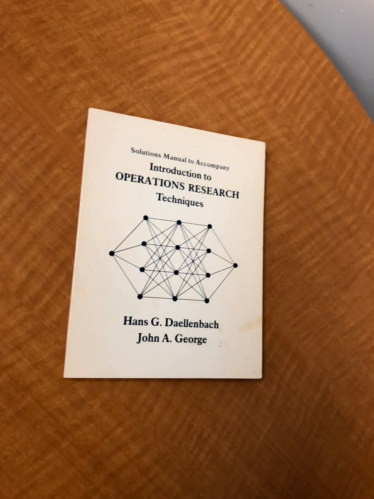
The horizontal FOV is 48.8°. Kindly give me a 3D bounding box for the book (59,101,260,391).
[{"bbox_3d":[-0.015,-0.001,0.388,0.180,0.020,0.250,6,79,-20],"label":"book"}]
